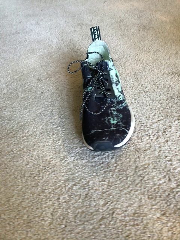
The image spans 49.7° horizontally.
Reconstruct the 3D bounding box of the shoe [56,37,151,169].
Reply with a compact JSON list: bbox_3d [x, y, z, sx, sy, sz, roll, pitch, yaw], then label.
[{"bbox_3d":[0.020,-0.056,0.404,0.131,0.100,0.288,-4,46,3],"label":"shoe"}]
